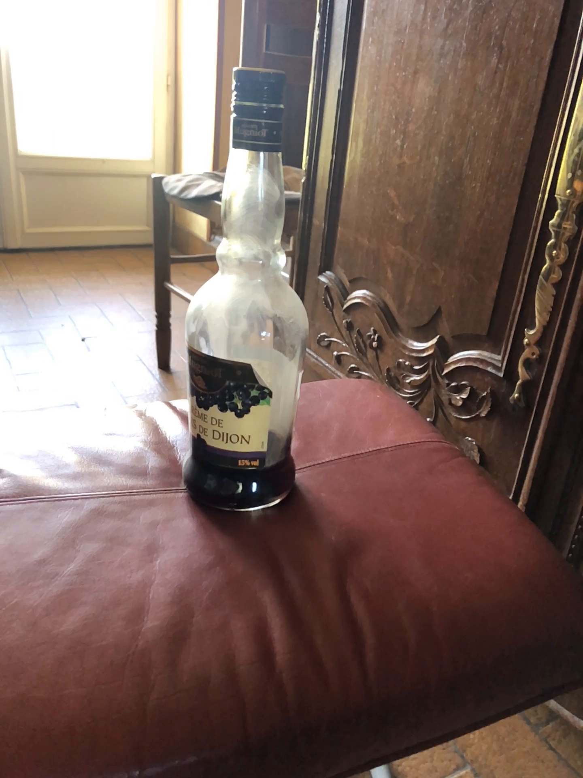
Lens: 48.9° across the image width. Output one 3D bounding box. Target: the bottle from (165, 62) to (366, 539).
[{"bbox_3d":[-0.025,-0.052,0.418,0.080,0.278,0.080,4,23,-2],"label":"bottle"}]
